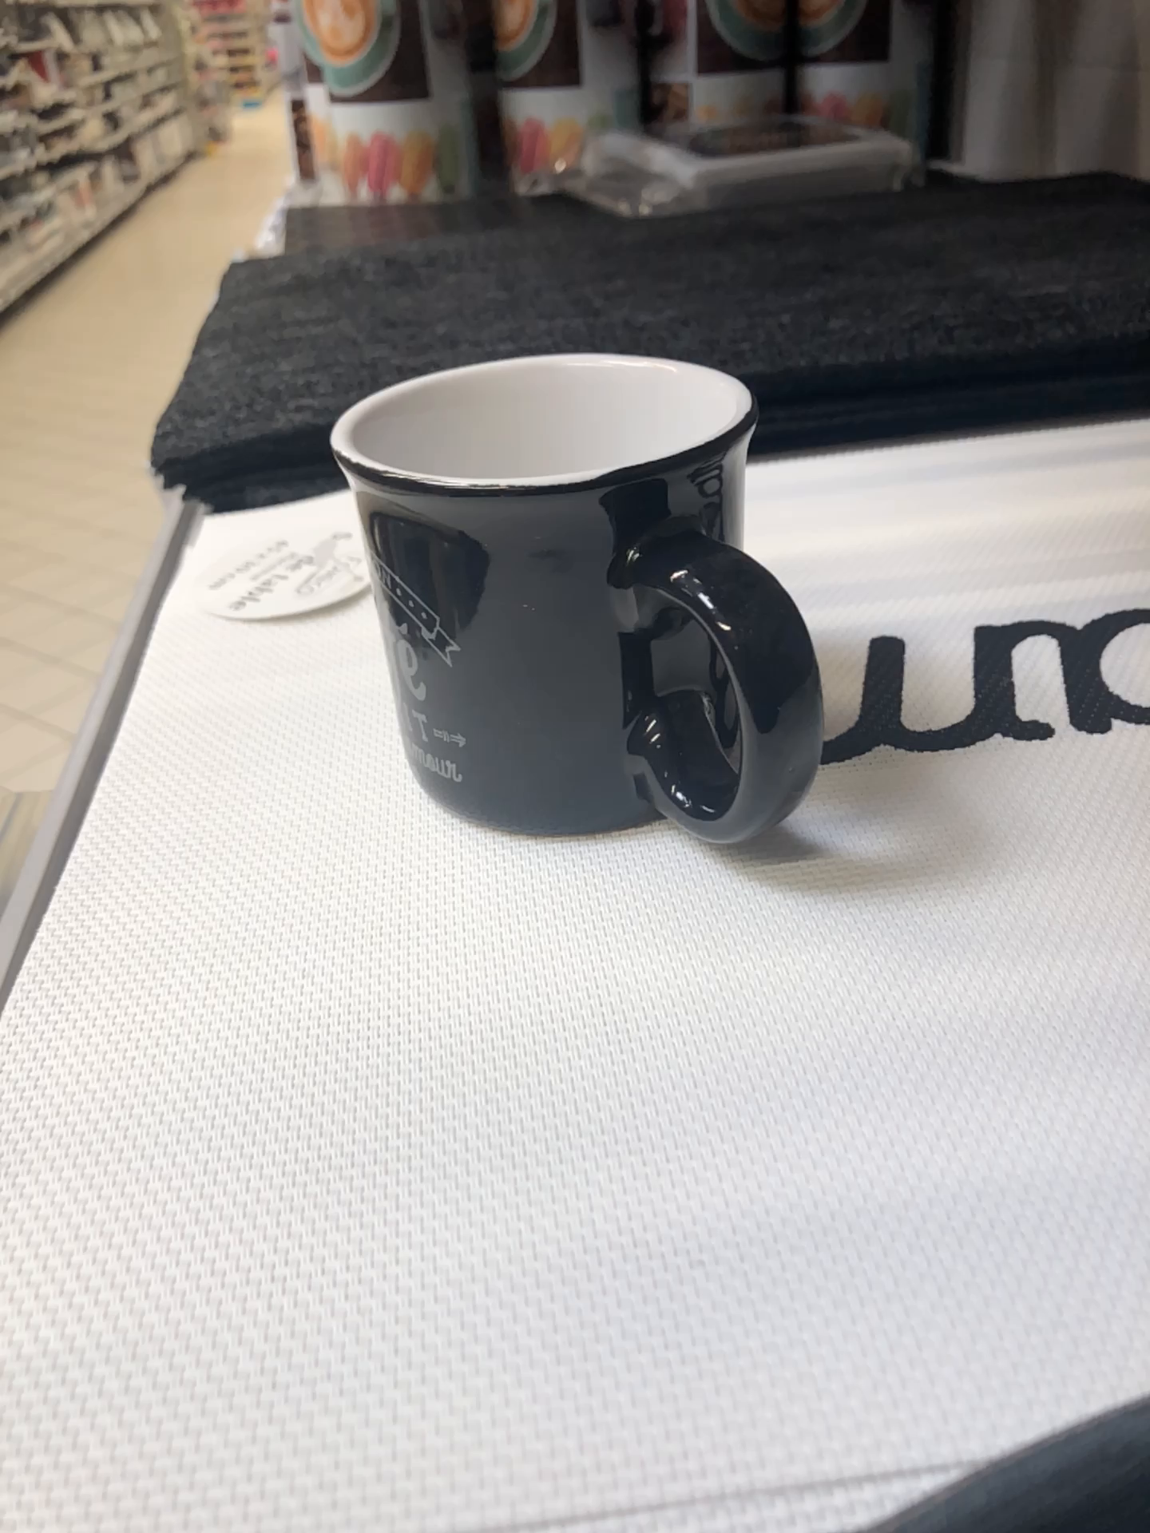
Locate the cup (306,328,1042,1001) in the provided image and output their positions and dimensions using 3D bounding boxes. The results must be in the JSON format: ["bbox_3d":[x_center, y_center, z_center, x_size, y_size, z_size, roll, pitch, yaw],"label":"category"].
[{"bbox_3d":[0.011,-0.027,0.219,0.075,0.064,0.101,-20,34,-21],"label":"cup"}]
